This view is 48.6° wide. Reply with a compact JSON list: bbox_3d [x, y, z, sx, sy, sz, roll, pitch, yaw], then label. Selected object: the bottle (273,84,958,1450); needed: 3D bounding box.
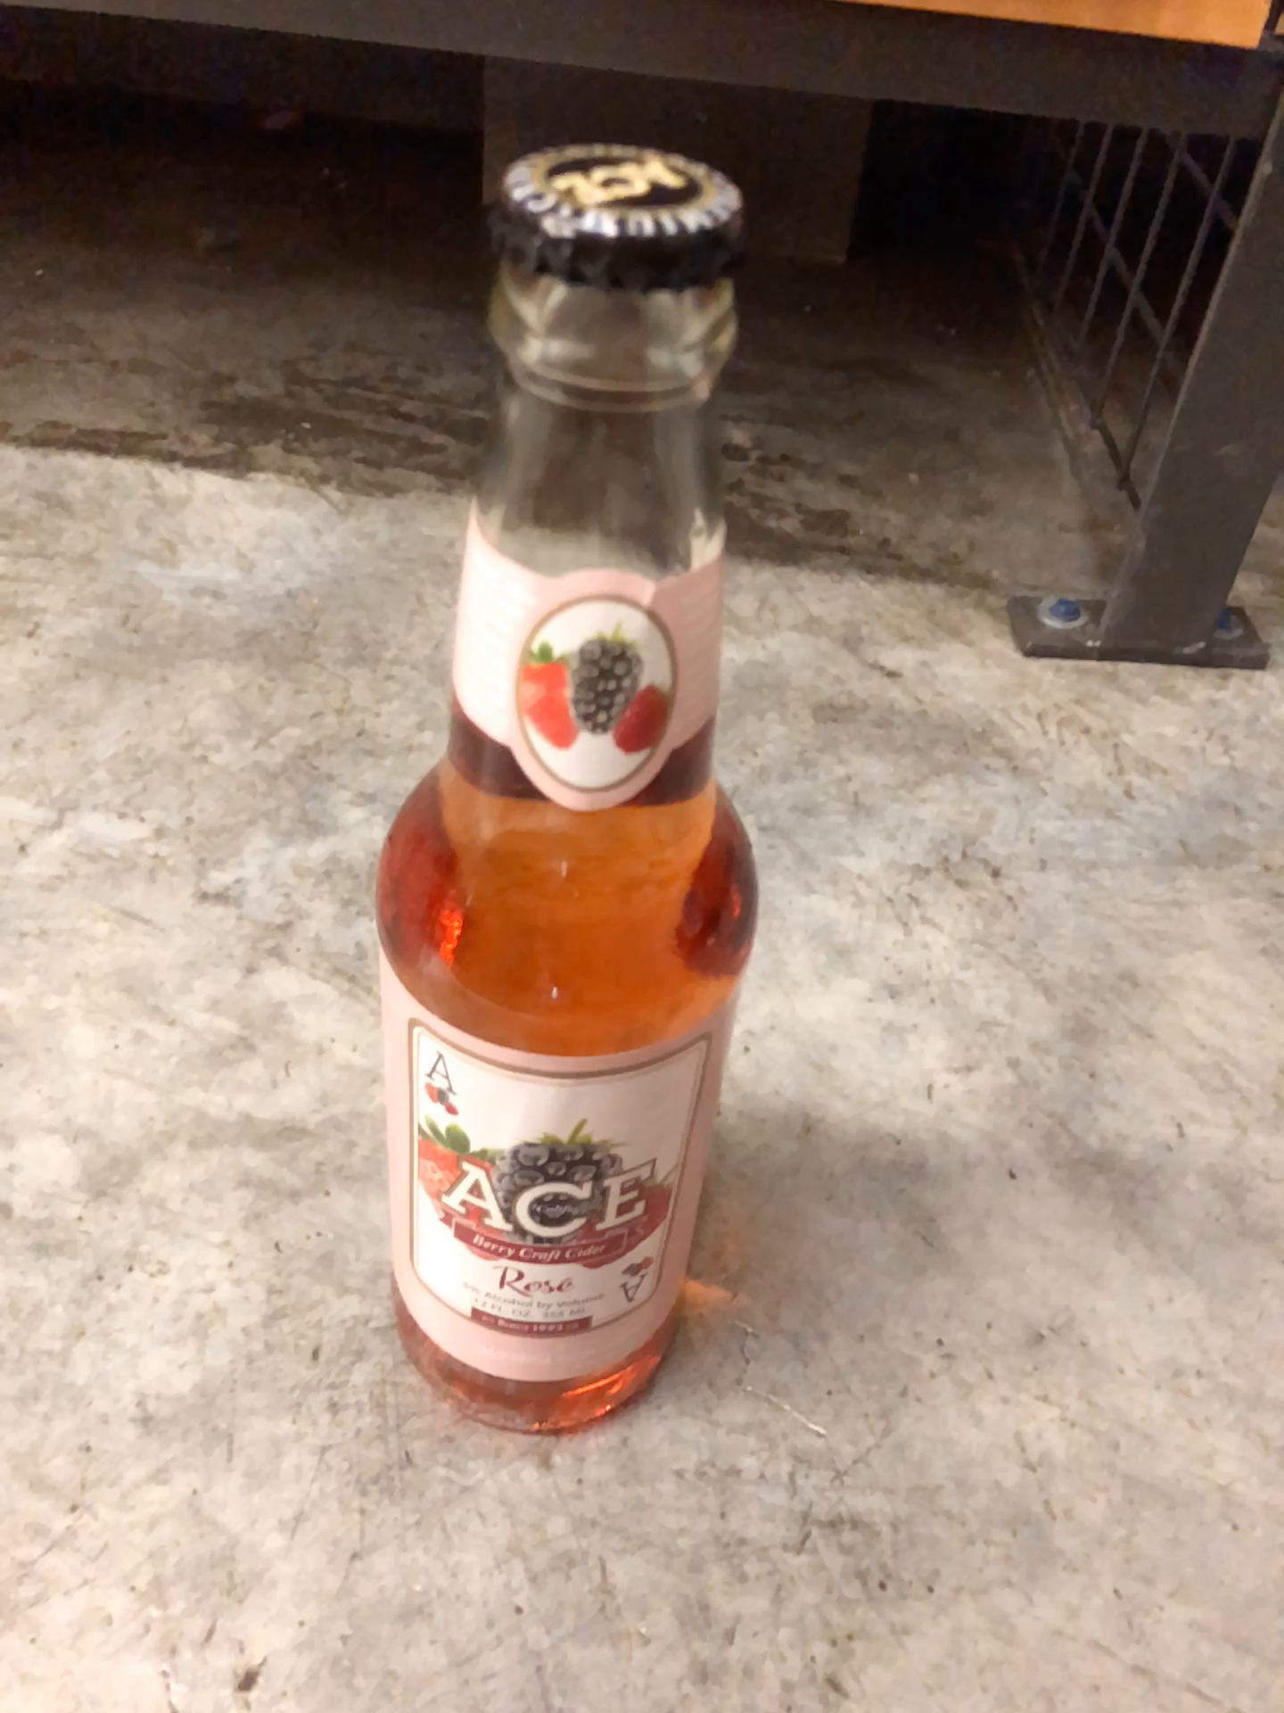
[{"bbox_3d":[-0.011,0.011,0.224,0.061,0.221,0.060,4,42,-3],"label":"bottle"}]
